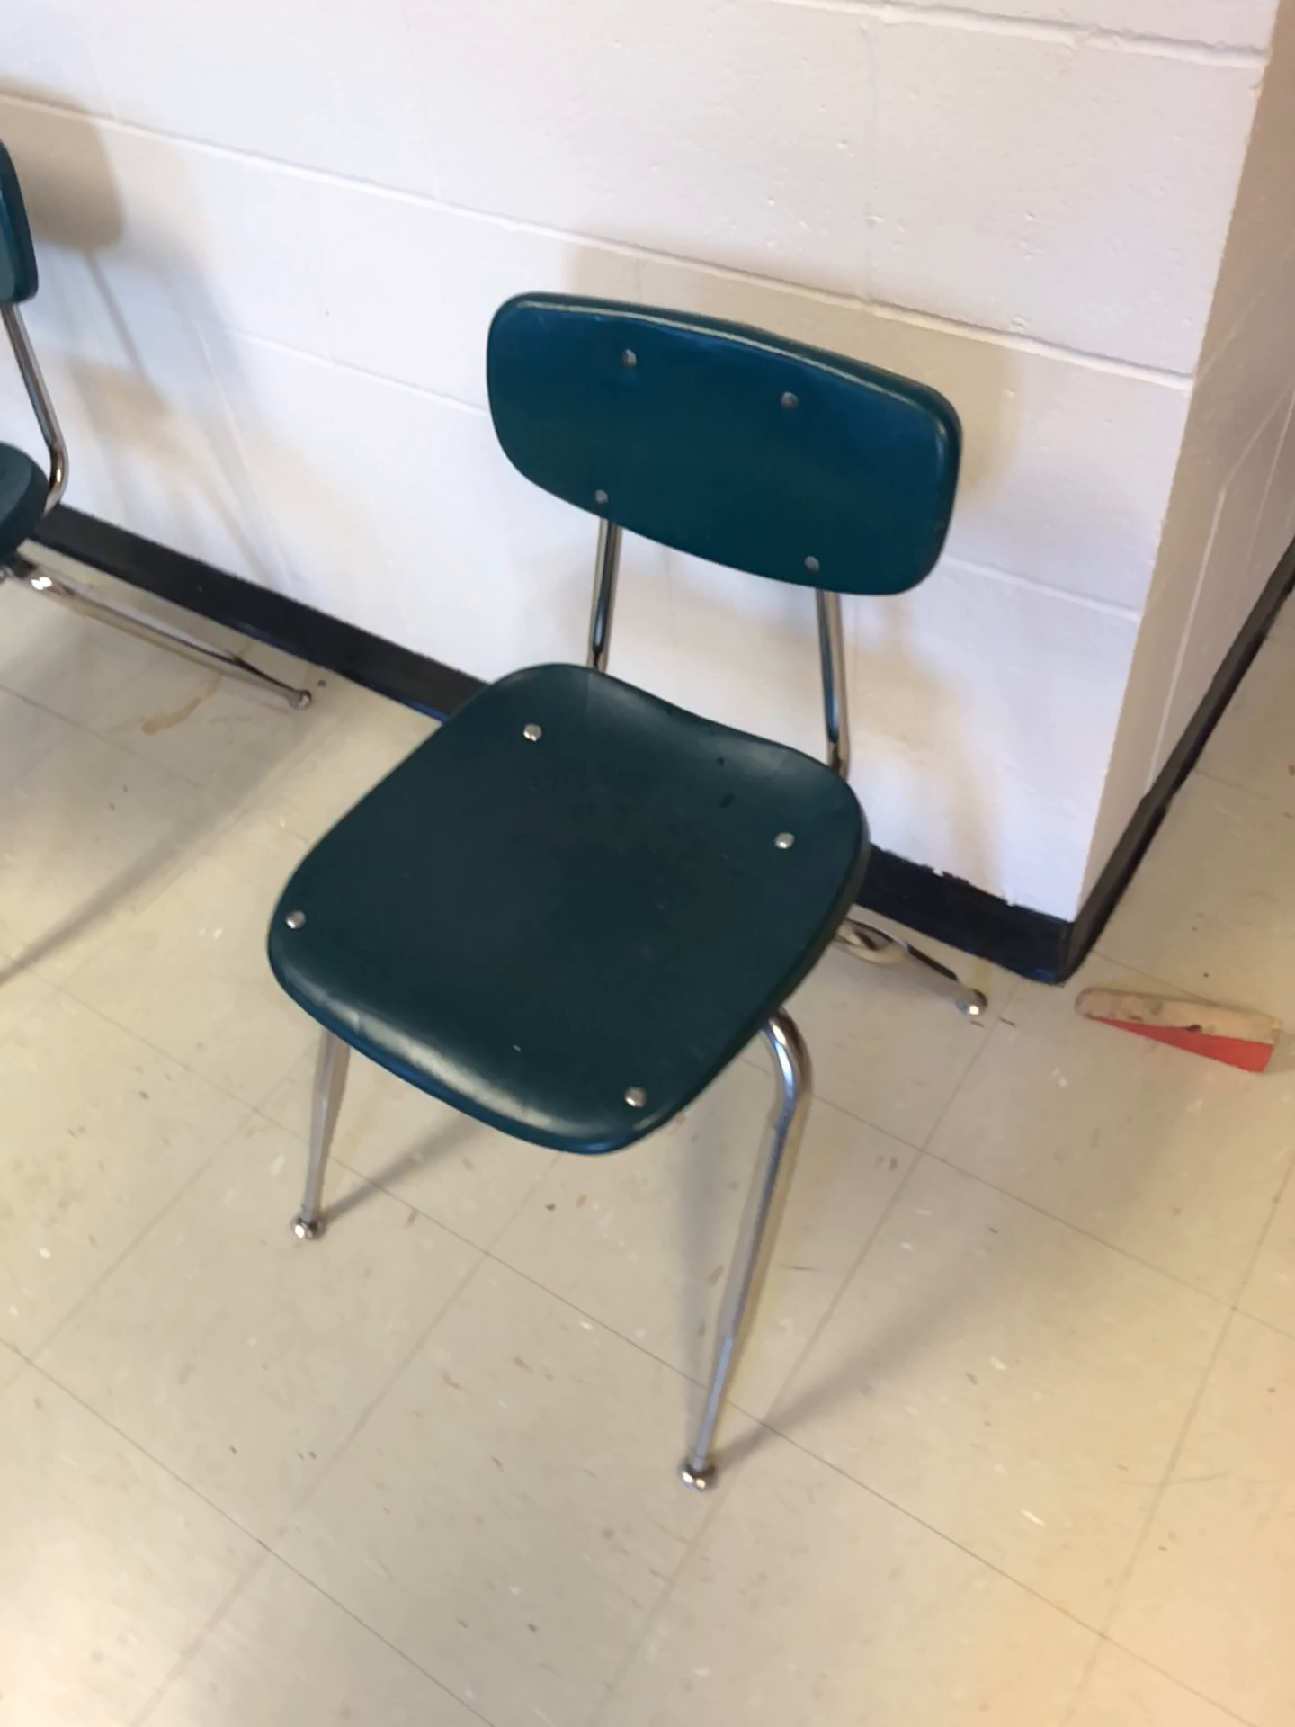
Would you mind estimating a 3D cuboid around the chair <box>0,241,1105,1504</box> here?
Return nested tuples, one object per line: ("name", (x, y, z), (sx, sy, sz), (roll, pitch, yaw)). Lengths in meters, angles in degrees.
("chair", (-0.024, 0.012, 1.147), (0.481, 0.696, 0.592), (23, 56, 25))
